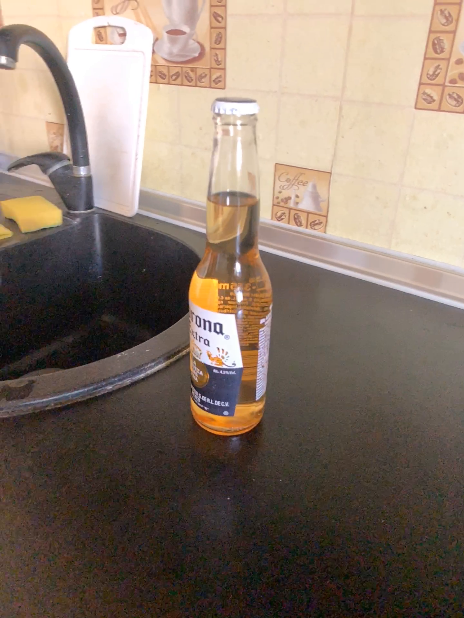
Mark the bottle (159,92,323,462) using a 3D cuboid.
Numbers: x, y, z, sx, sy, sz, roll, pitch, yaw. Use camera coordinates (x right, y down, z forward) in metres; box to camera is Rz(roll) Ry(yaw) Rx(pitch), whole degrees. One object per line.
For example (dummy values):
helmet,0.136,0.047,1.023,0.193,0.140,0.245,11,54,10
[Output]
bottle,0.001,-0.016,0.343,0.070,0.249,0.070,1,29,-1
